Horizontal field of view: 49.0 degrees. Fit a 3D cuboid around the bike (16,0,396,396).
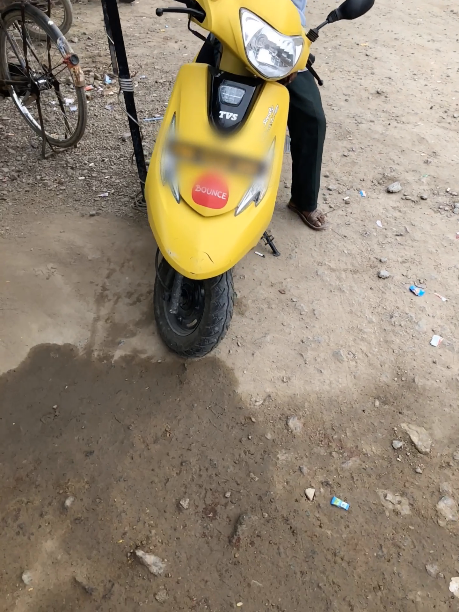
[{"bbox_3d":[0.022,-0.695,2.147,0.888,1.160,1.664,4,44,4],"label":"bike"}]
